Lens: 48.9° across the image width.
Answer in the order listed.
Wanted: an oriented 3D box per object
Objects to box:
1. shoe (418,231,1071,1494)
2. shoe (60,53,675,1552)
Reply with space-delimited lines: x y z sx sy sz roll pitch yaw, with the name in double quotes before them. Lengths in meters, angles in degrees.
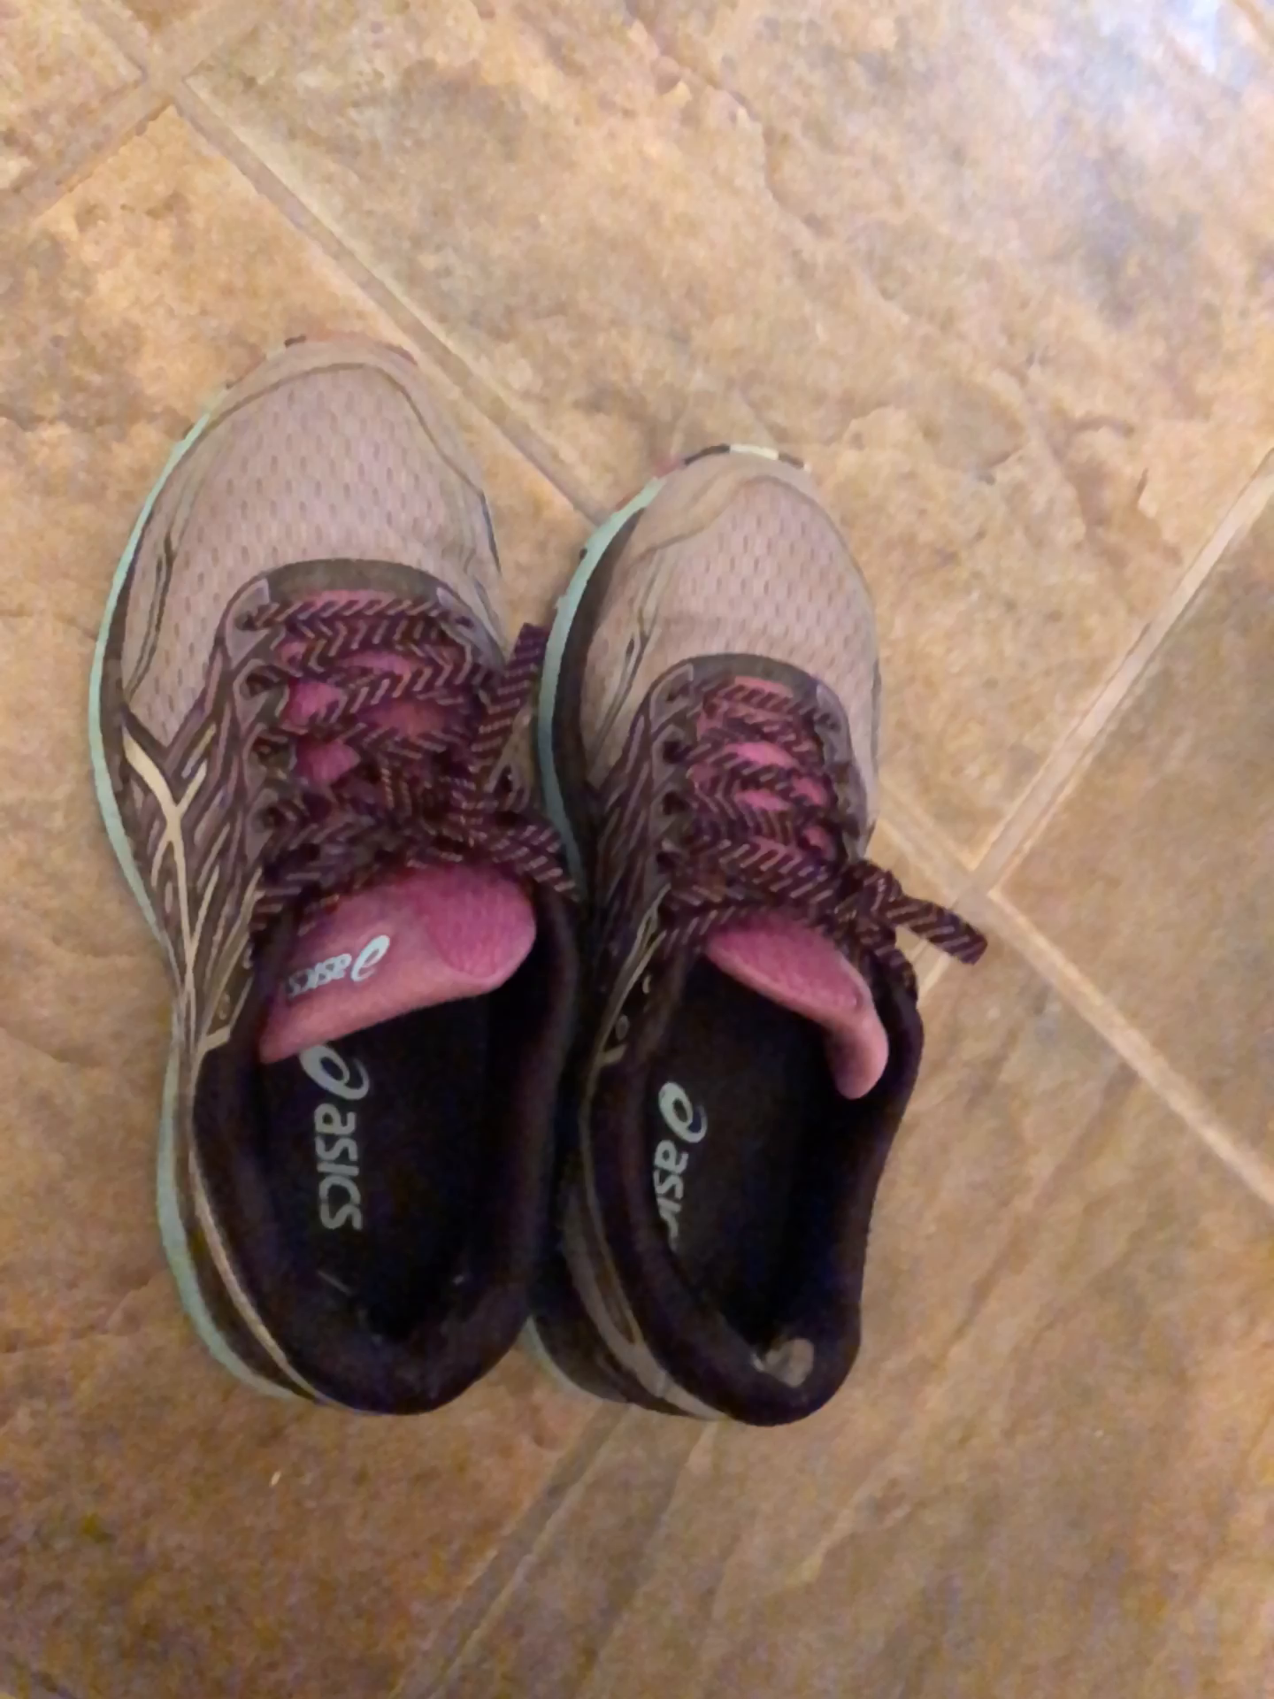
"shoe" 0.024 0.007 0.384 0.110 0.120 0.280 8 85 -21
"shoe" -0.072 -0.010 0.337 0.110 0.120 0.280 -3 89 -22
